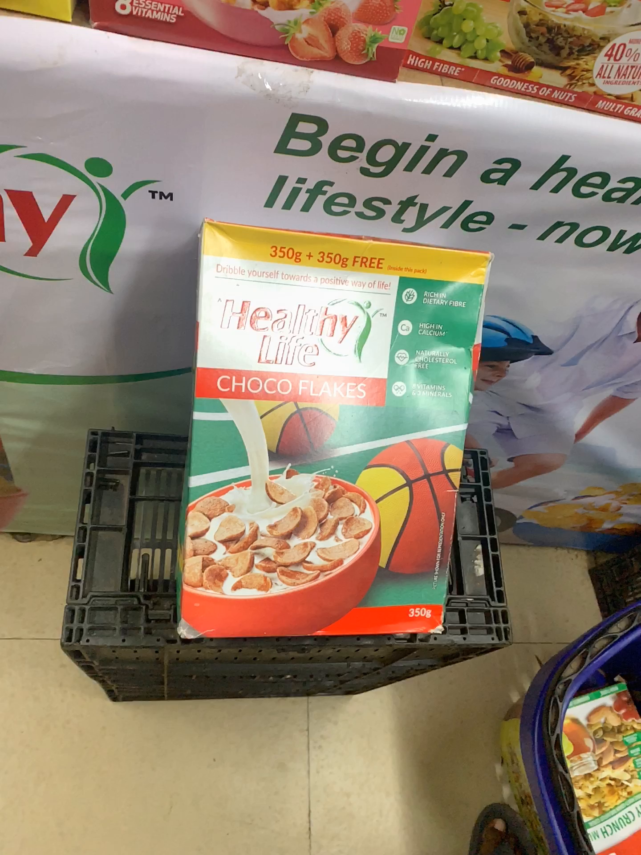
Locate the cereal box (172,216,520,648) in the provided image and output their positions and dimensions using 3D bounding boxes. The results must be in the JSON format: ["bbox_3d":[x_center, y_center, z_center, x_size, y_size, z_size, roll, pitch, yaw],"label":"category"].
[{"bbox_3d":[0.007,0.007,0.478,0.210,0.090,0.280,3,102,-12],"label":"cereal box"}]
